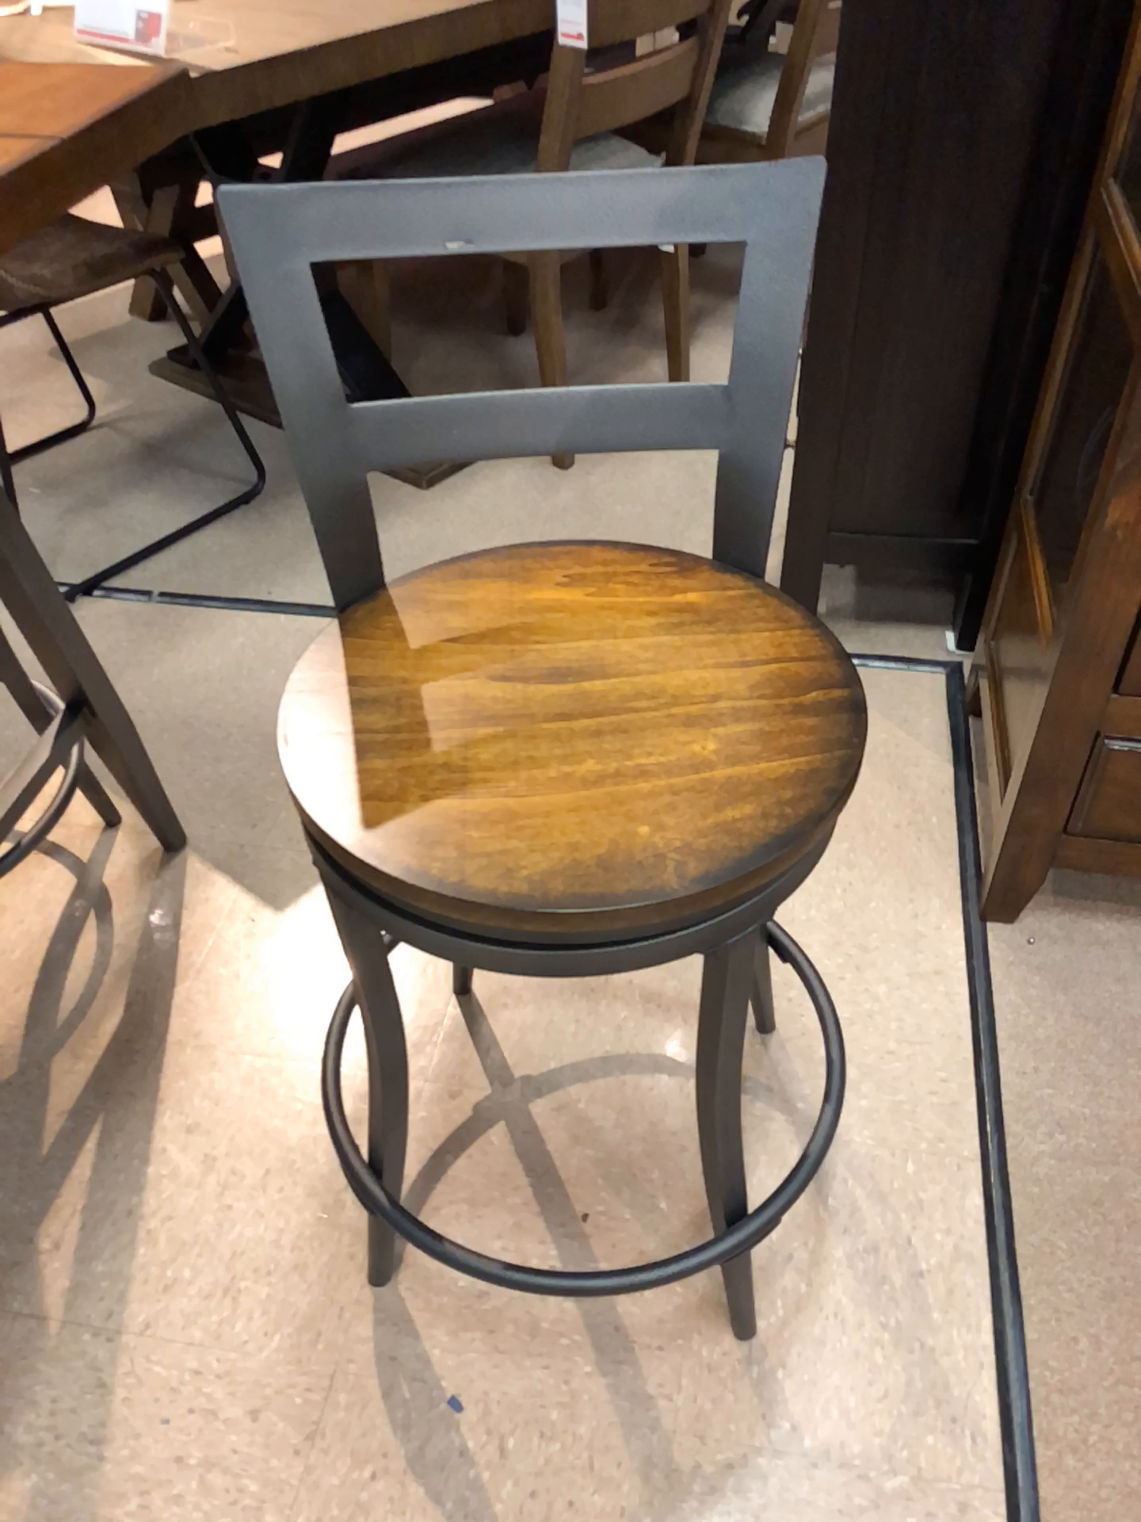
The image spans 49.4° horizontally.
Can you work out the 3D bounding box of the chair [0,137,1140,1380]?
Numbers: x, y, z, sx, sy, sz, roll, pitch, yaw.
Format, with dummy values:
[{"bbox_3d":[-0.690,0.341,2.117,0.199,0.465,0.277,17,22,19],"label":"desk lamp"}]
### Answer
[{"bbox_3d":[-0.010,0.038,0.943,0.490,0.804,0.463,-4,41,-3],"label":"chair"}]
